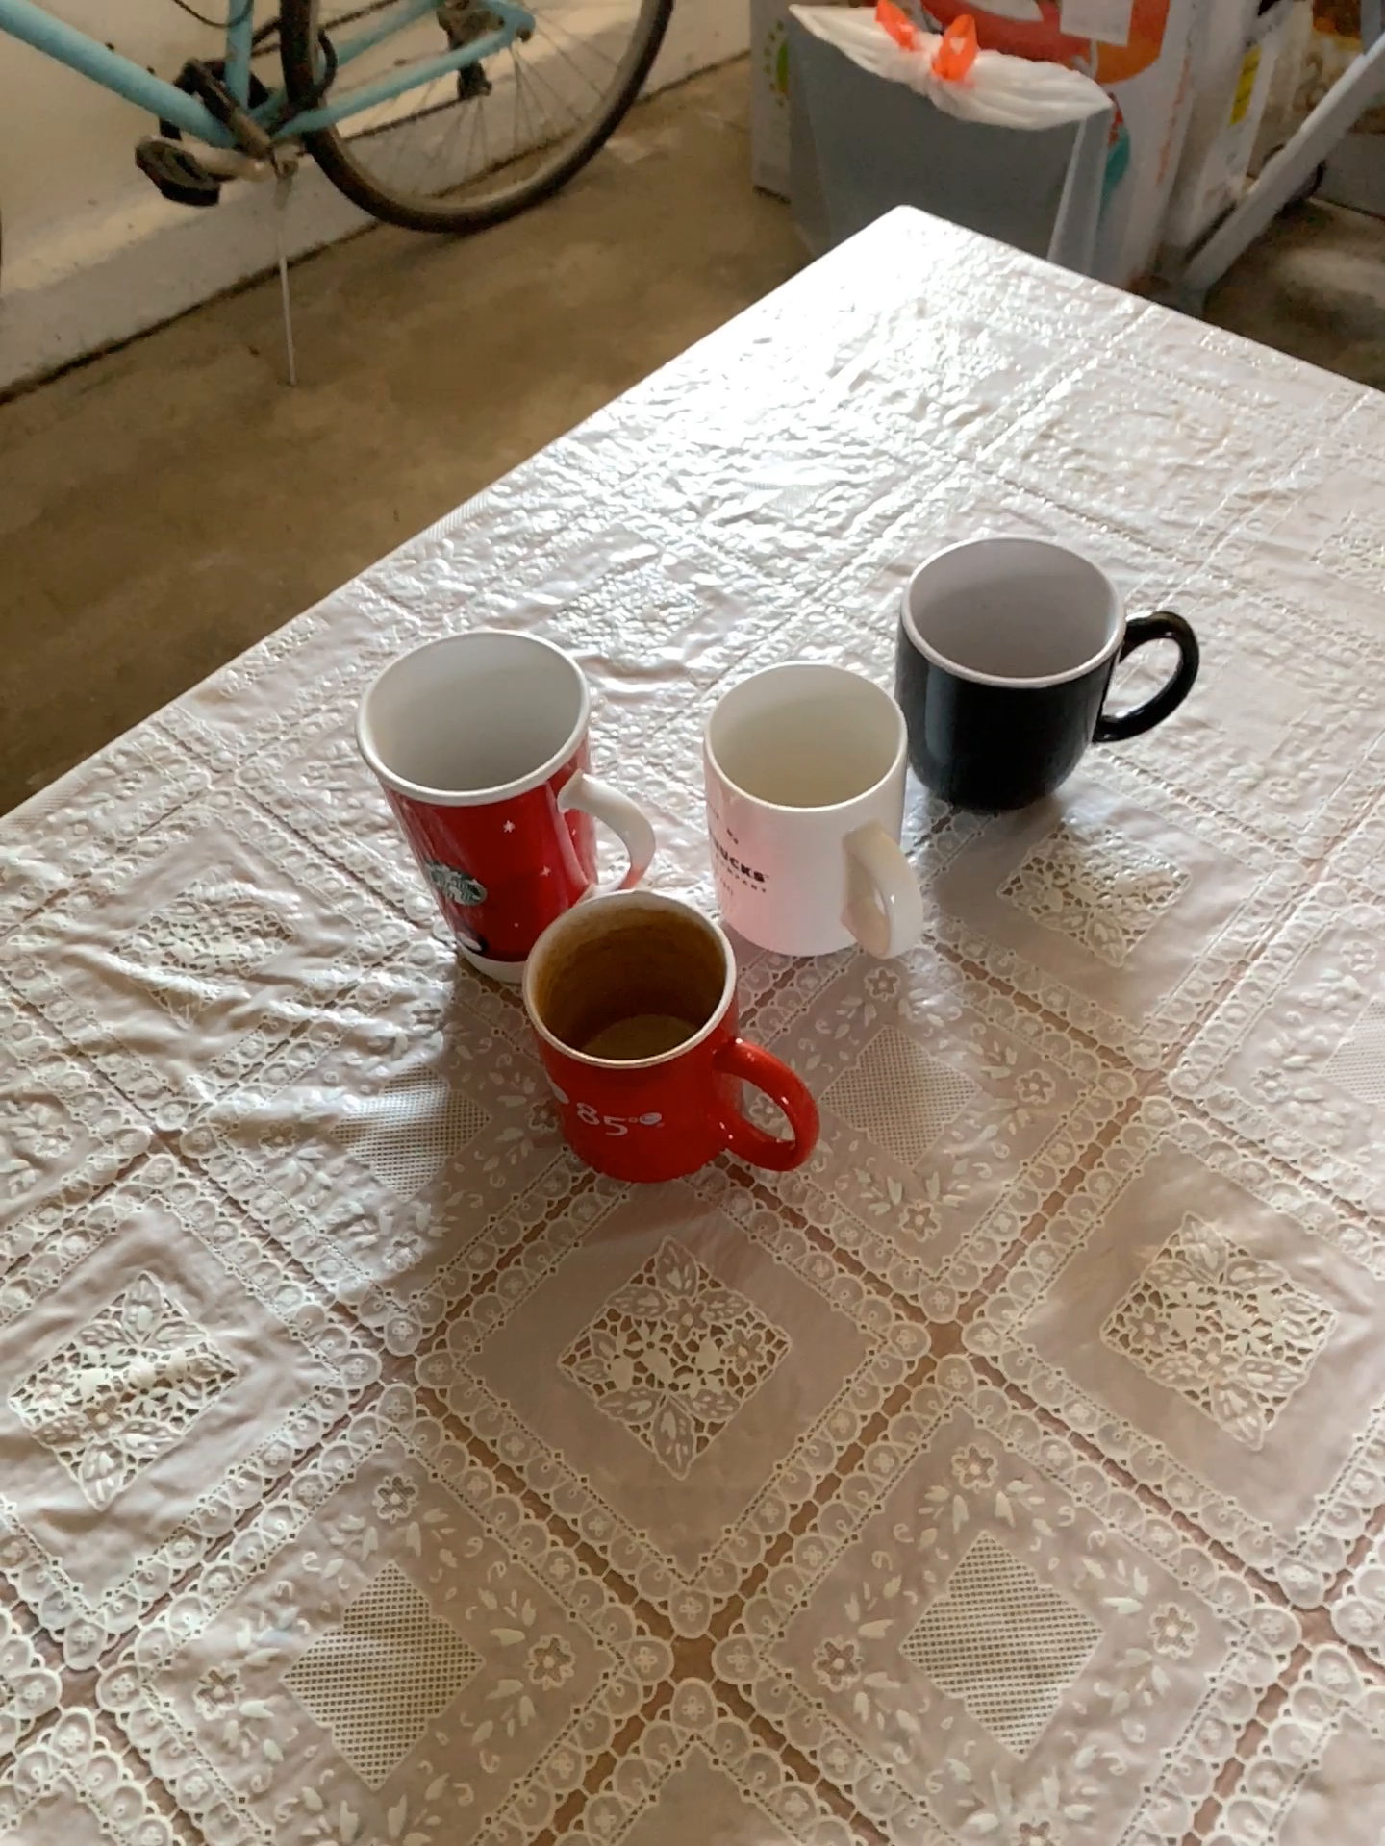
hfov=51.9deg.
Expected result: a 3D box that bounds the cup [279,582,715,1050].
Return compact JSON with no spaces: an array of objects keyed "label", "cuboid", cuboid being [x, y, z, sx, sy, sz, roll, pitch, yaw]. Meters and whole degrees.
[{"label":"cup","cuboid":[-0.079,-0.046,0.636,0.140,0.140,0.100,25,61,20]}]

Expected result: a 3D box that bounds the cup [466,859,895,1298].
[{"label":"cup","cuboid":[-0.003,0.062,0.585,0.140,0.090,0.090,31,63,23]}]

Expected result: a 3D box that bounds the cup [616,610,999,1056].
[{"label":"cup","cuboid":[0.049,-0.042,0.649,0.100,0.110,0.140,-29,58,-15]}]

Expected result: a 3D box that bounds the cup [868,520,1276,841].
[{"label":"cup","cuboid":[0.172,-0.115,0.682,0.160,0.090,0.110,-3,55,2]}]
